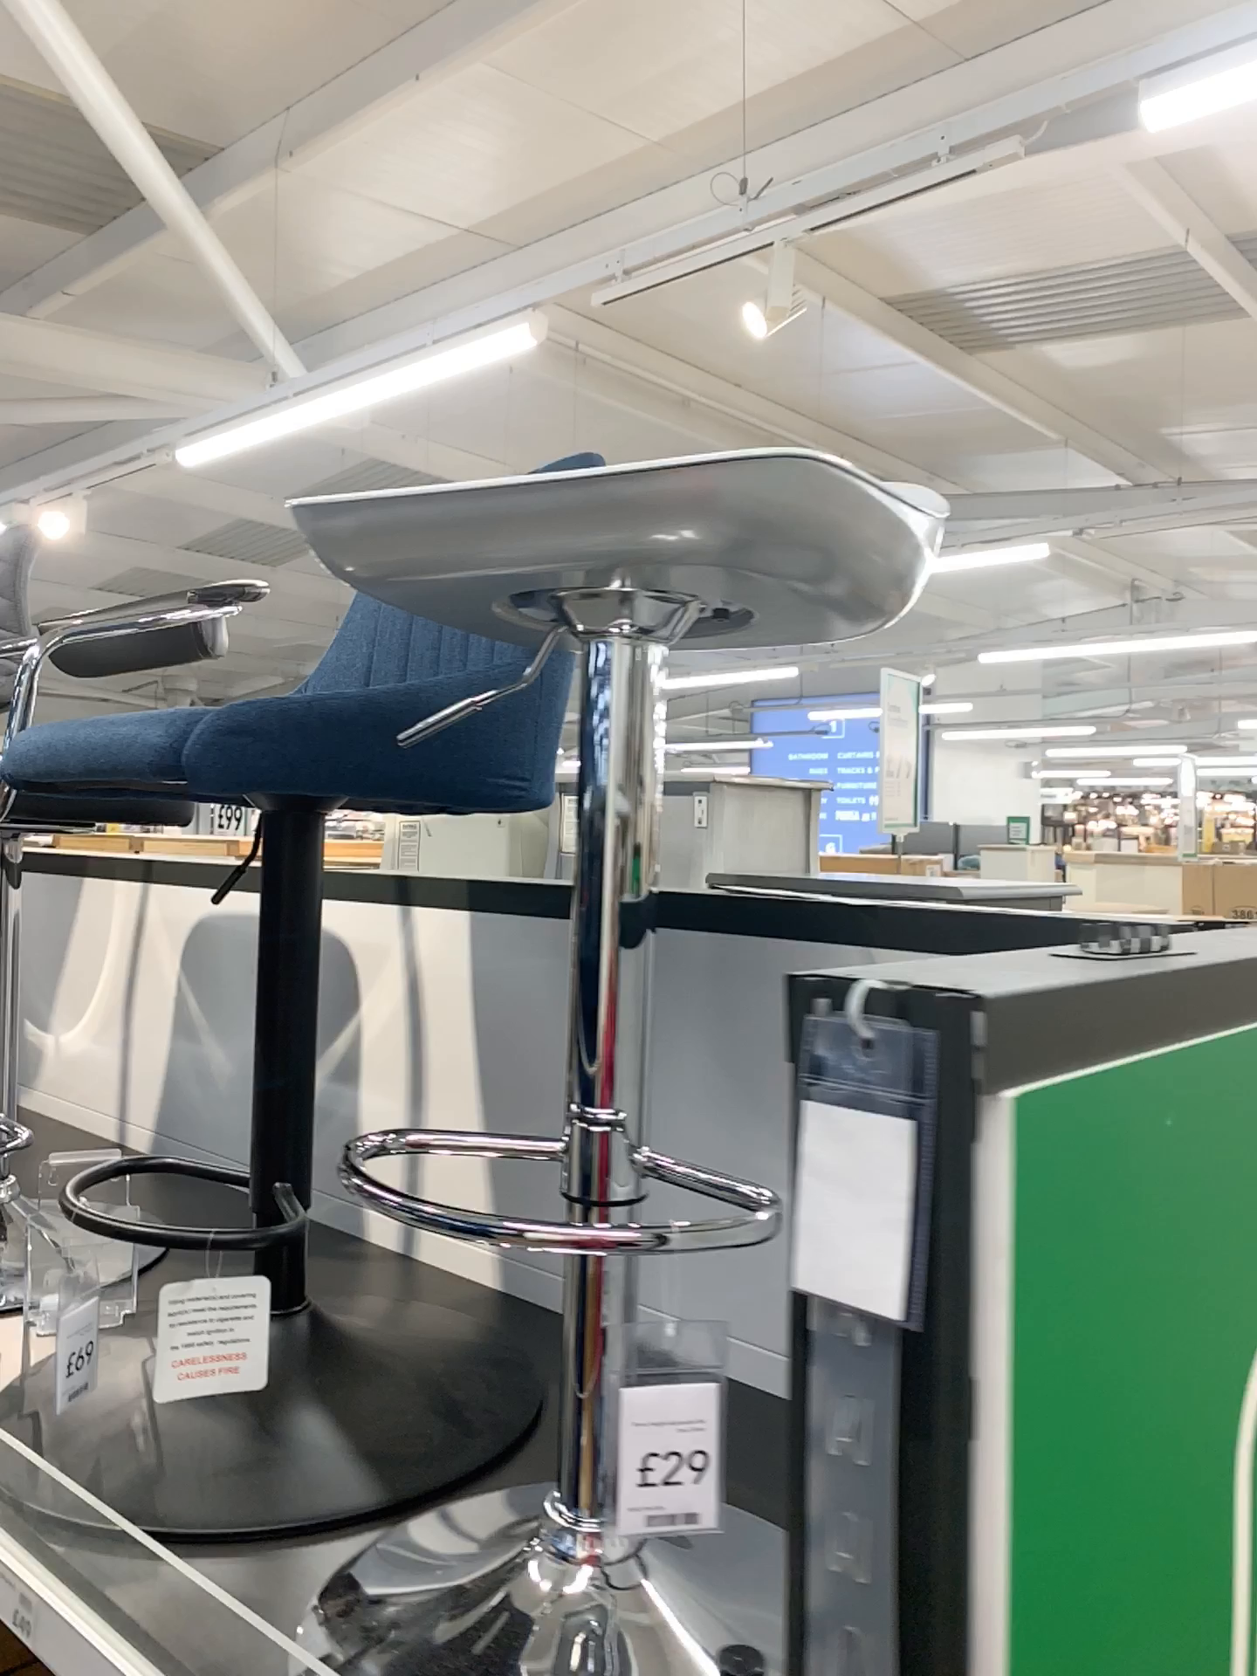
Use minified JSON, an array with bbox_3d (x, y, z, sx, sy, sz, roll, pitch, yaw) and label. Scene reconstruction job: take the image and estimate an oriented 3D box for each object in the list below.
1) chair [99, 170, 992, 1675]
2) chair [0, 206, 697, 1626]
[{"bbox_3d":[-0.031,0.100,0.846,0.402,0.803,0.403,1,-1,33],"label":"chair"},{"bbox_3d":[-0.307,0.041,1.155,0.532,0.883,0.483,1,-1,38],"label":"chair"}]
